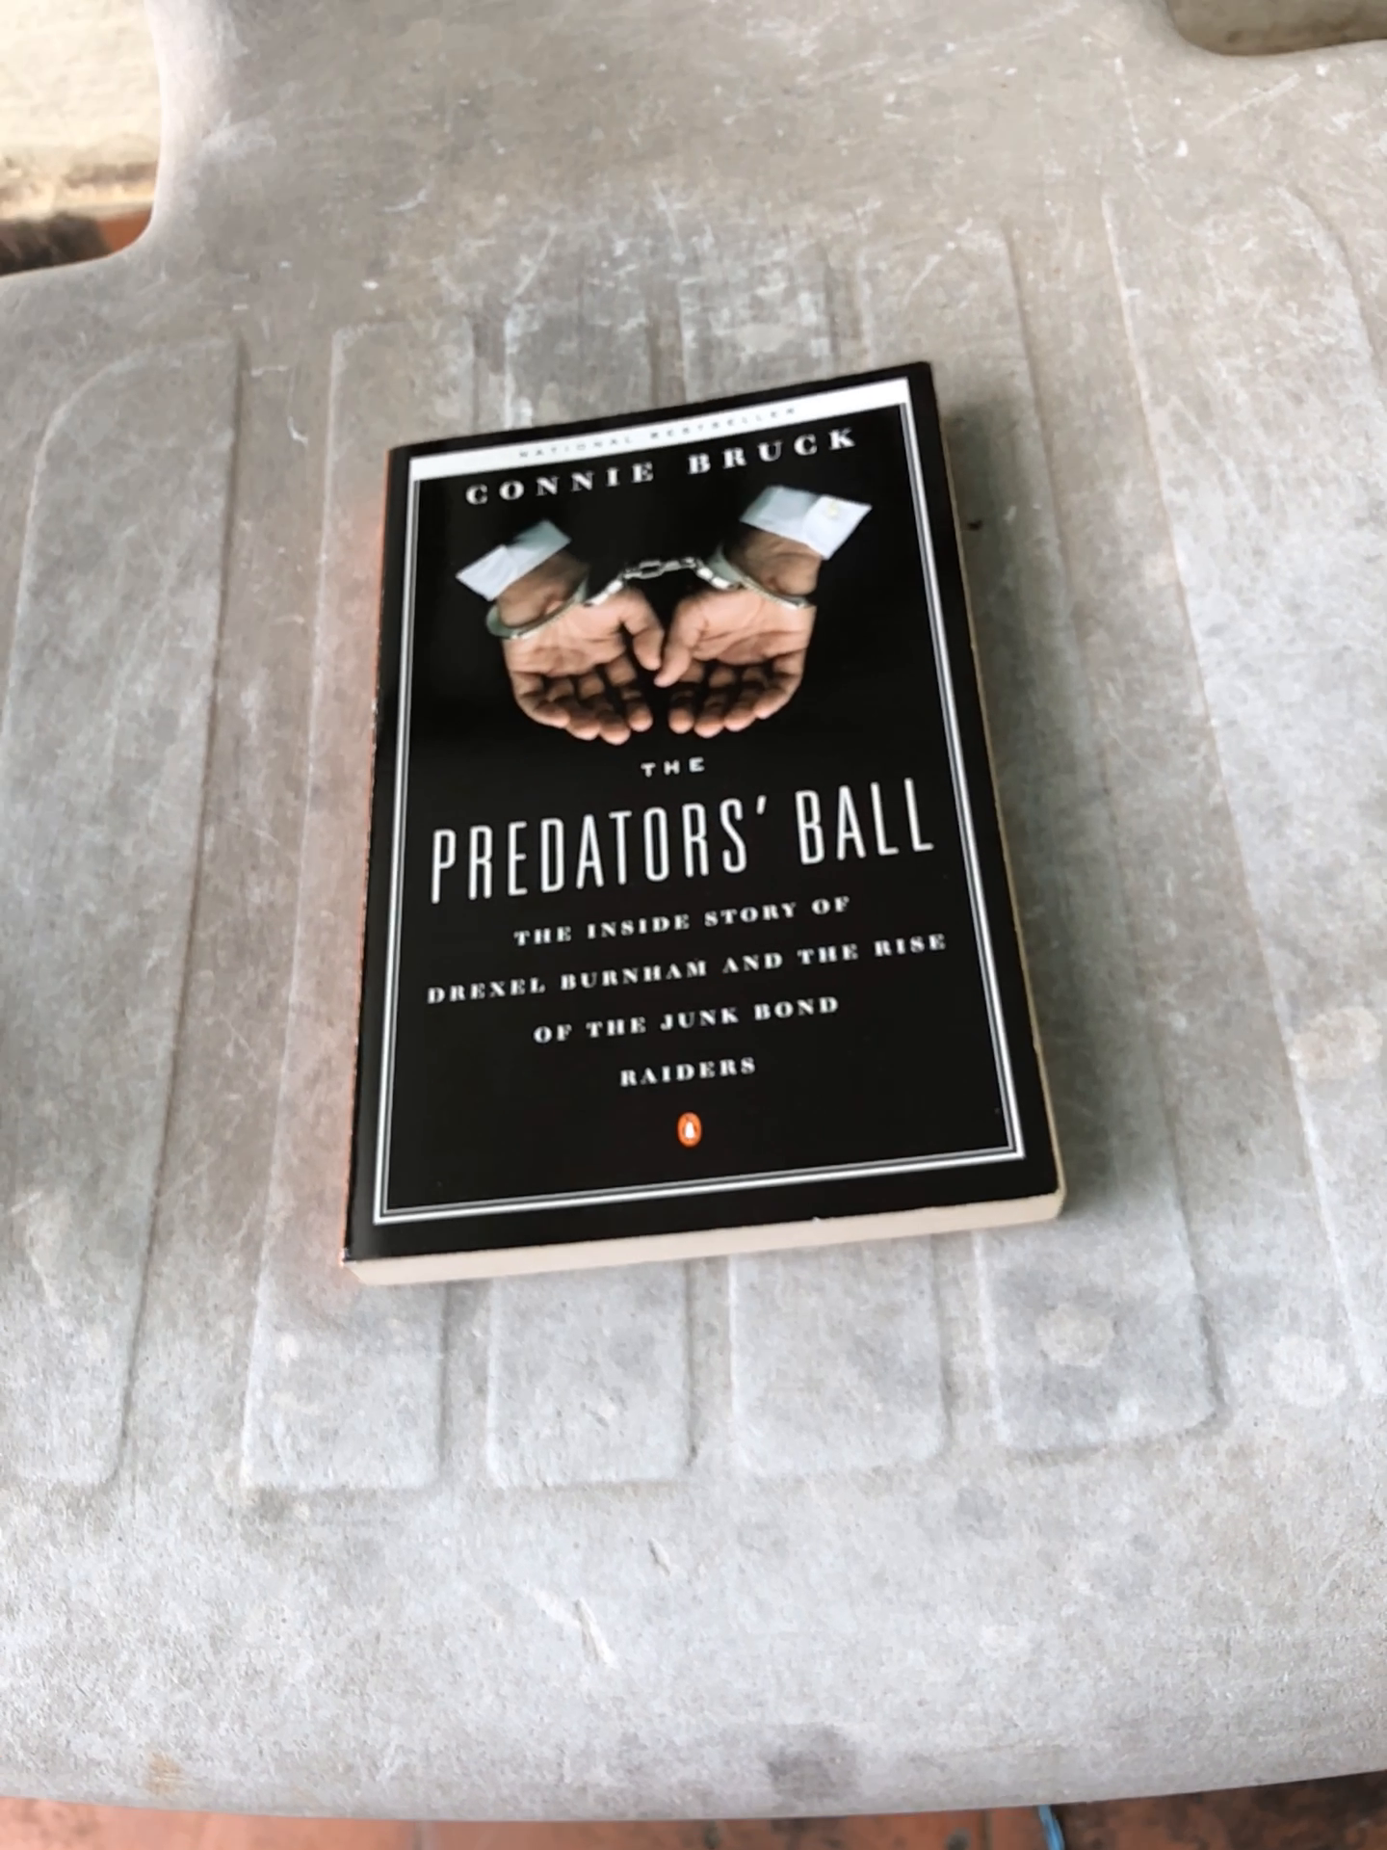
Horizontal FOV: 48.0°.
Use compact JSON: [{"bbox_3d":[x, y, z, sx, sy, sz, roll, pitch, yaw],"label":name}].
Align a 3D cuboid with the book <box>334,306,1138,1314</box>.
[{"bbox_3d":[0.003,-0.032,0.329,0.140,0.030,0.210,-7,62,8],"label":"book"}]
